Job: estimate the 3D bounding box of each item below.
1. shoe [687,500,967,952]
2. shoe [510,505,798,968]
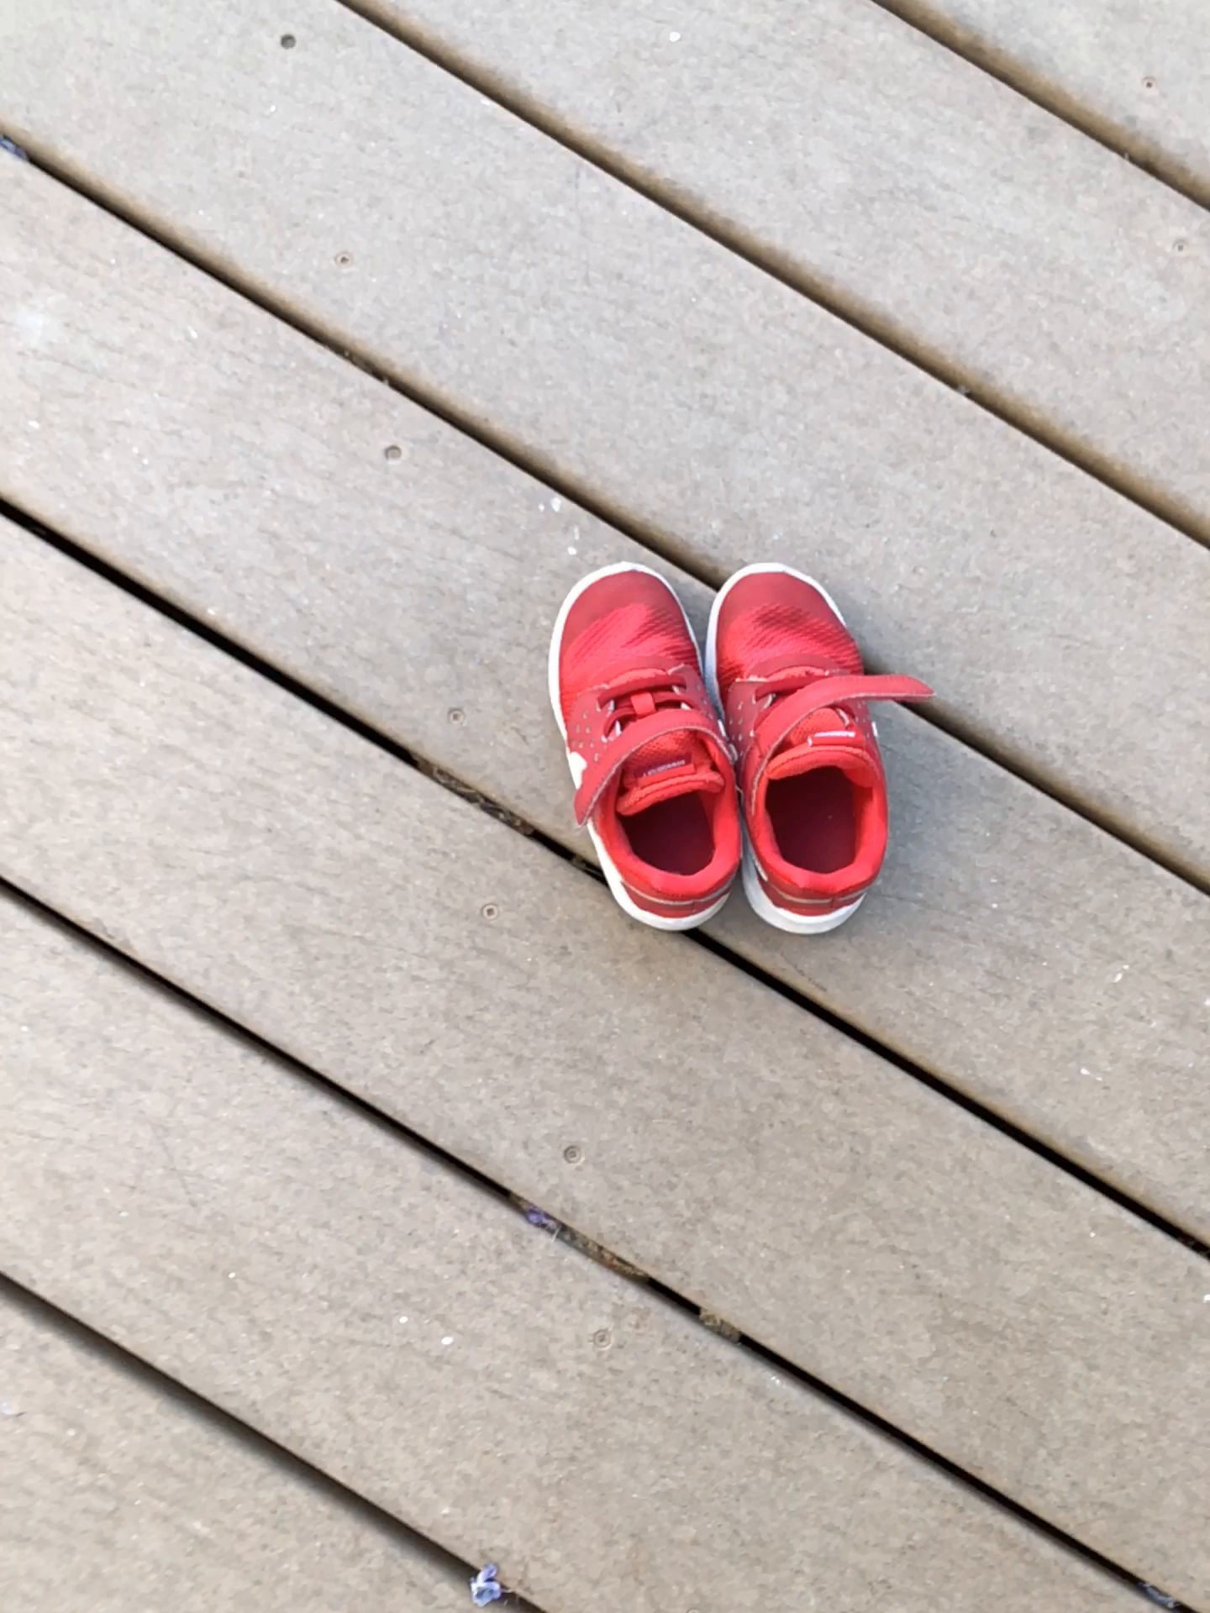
[{"bbox_3d":[0.087,-0.029,0.553,0.077,0.087,0.167,-6,85,-4],"label":"shoe"},{"bbox_3d":[0.016,-0.025,0.556,0.077,0.087,0.167,-12,86,-5],"label":"shoe"}]
